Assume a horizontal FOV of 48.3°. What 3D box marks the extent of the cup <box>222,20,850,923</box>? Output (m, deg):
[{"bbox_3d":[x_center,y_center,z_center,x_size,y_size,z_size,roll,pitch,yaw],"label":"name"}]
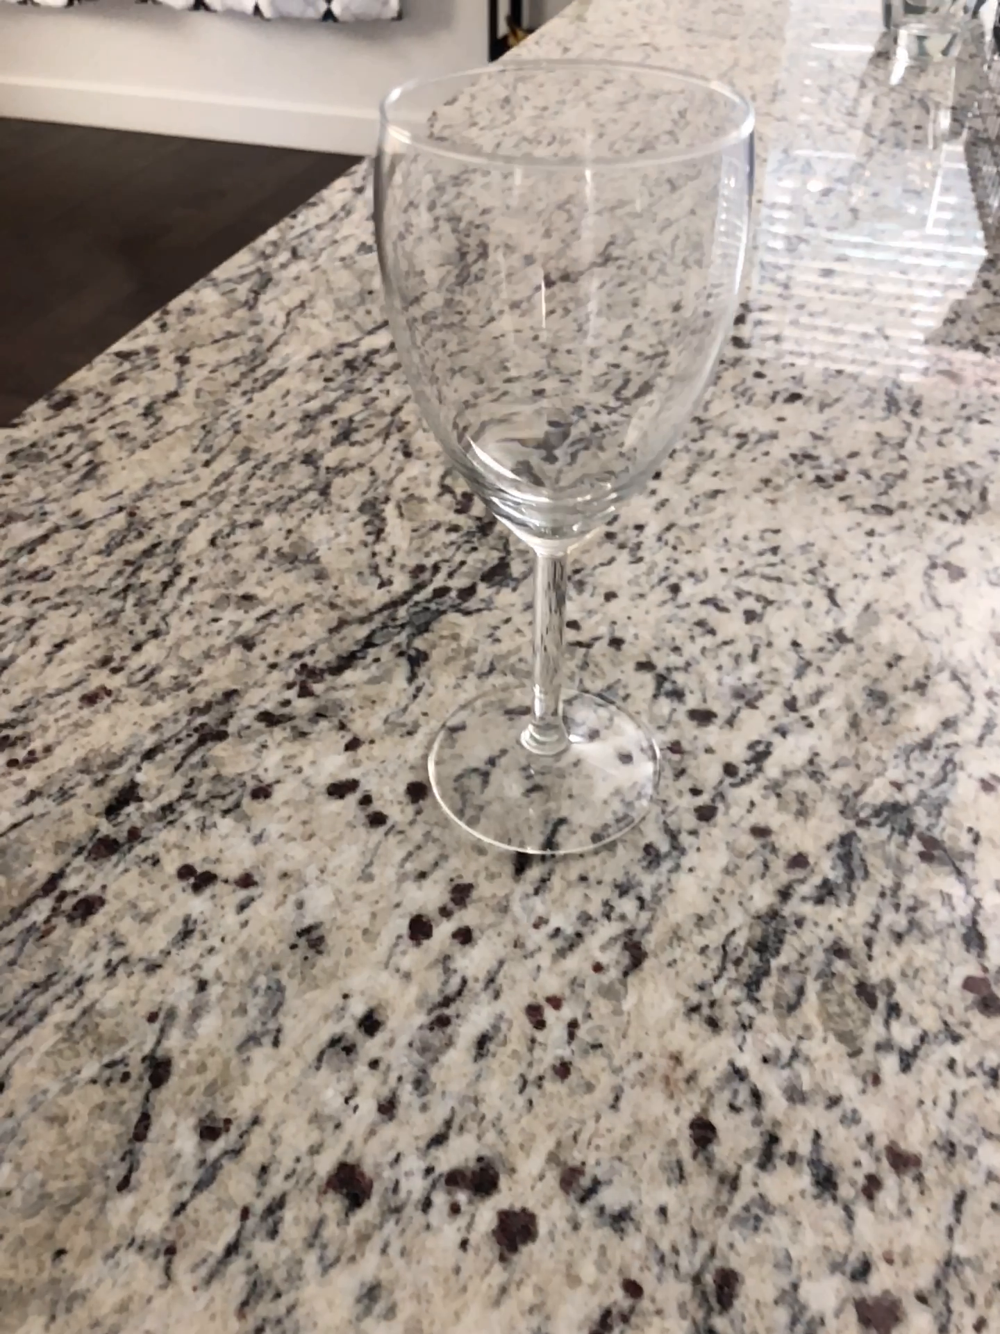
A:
[{"bbox_3d":[0.006,-0.040,0.255,0.080,0.169,0.080,0,40,0],"label":"cup"}]
